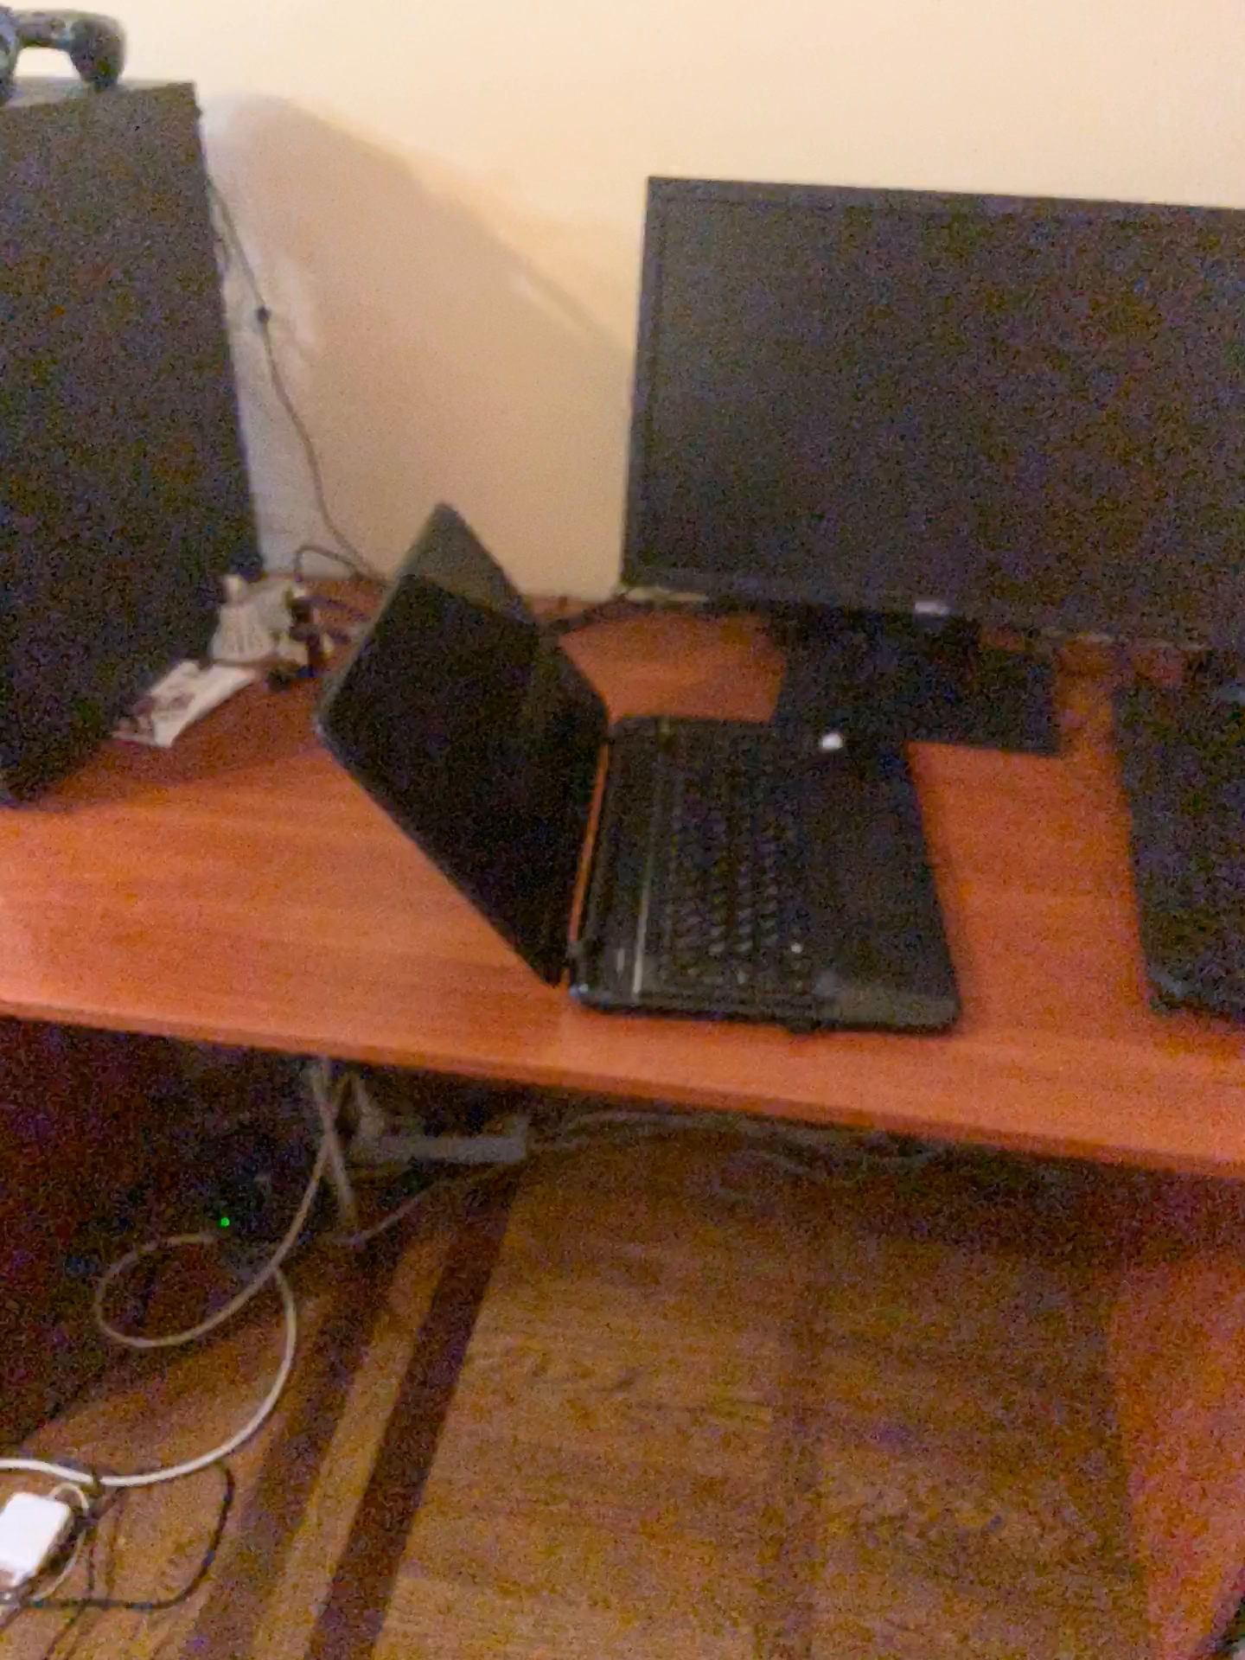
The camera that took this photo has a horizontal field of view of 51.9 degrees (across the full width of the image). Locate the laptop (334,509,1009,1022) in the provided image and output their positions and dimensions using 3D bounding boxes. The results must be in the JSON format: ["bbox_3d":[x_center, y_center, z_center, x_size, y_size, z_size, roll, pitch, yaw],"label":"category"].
[{"bbox_3d":[0.035,-0.070,0.896,0.368,0.181,0.368,3,33,5],"label":"laptop"}]
